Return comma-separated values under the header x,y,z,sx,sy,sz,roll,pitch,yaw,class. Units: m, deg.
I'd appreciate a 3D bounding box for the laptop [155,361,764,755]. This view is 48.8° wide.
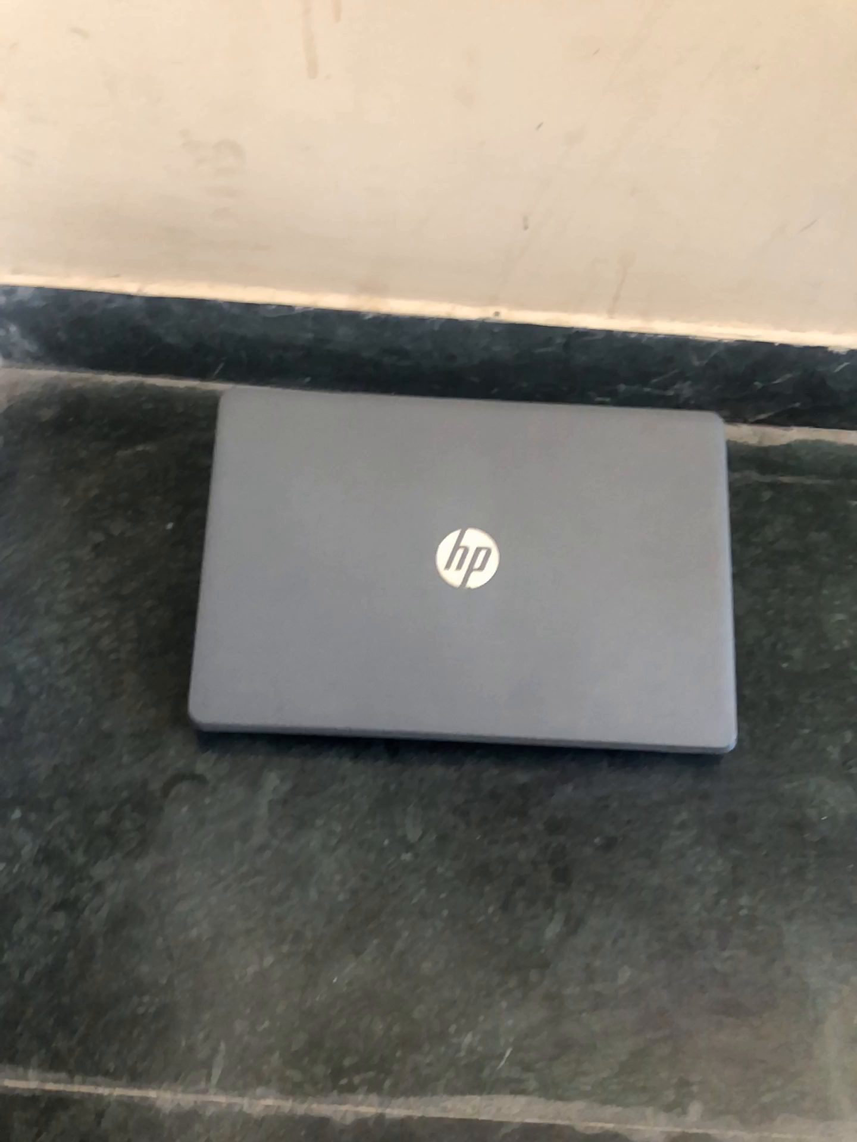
x,y,z,sx,sy,sz,roll,pitch,yaw,class
0.022,-0.015,0.657,0.357,0.092,0.243,3,57,-1,laptop
